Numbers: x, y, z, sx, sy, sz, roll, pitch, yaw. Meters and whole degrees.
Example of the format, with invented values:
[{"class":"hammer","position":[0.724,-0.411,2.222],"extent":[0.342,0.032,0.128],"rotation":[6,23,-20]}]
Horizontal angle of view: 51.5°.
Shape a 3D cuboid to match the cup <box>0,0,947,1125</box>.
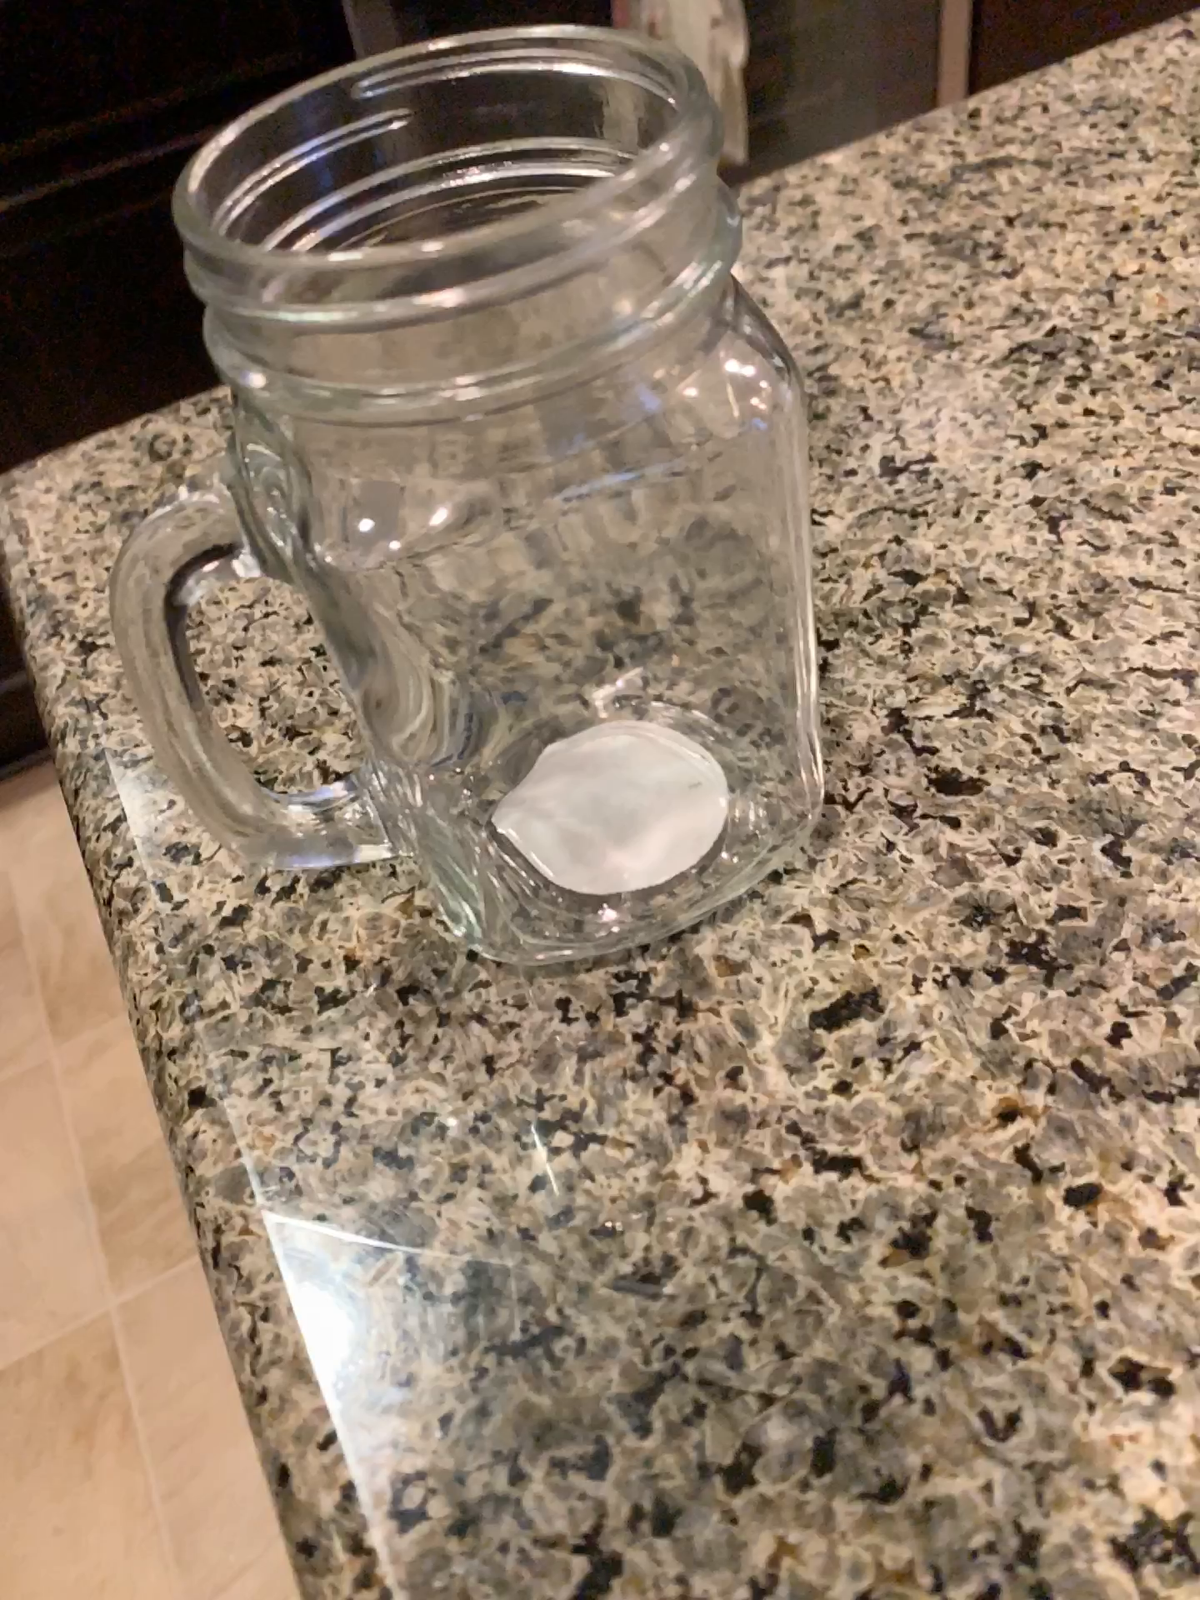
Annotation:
[{"class":"cup","position":[-0.025,-0.038,0.188],"extent":[0.120,0.119,0.081],"rotation":[-24,48,-10]}]
